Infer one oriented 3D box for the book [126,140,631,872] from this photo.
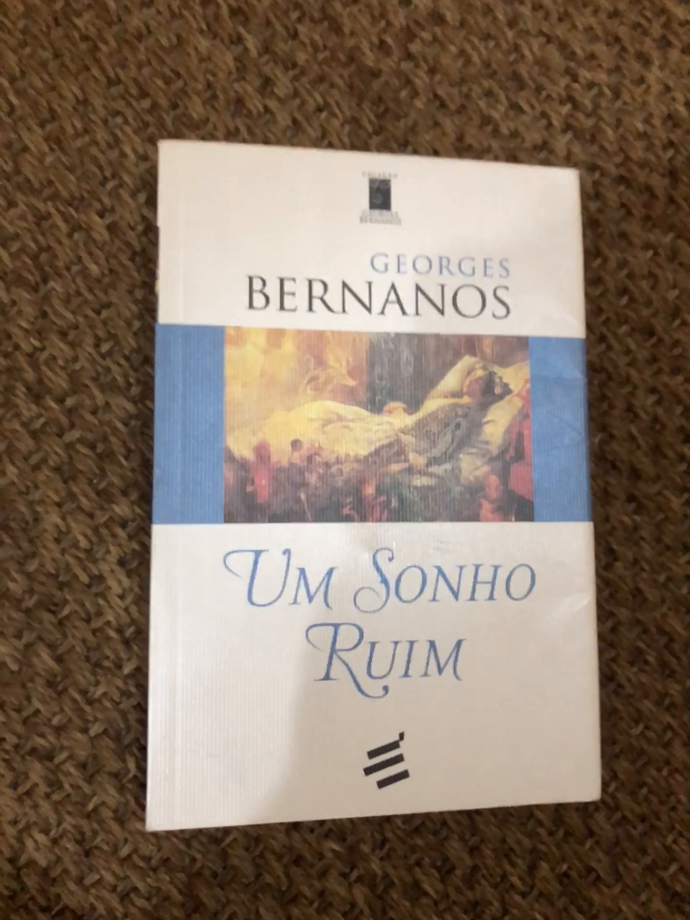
[{"bbox_3d":[0.010,0.009,0.230,0.140,0.020,0.199,0,84,-9],"label":"book"}]
